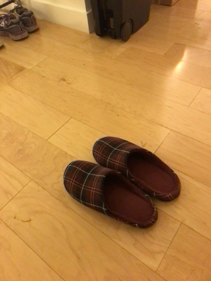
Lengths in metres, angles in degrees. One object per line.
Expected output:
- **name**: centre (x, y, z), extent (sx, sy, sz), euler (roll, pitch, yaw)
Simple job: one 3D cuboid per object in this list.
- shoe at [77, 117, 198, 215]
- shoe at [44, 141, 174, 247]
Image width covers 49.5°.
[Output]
- **shoe**: centre (0.074, 0.052, 0.598), extent (0.281, 0.070, 0.121), euler (29, 59, 27)
- **shoe**: centre (0.003, 0.116, 0.555), extent (0.280, 0.070, 0.121), euler (24, 57, 24)
